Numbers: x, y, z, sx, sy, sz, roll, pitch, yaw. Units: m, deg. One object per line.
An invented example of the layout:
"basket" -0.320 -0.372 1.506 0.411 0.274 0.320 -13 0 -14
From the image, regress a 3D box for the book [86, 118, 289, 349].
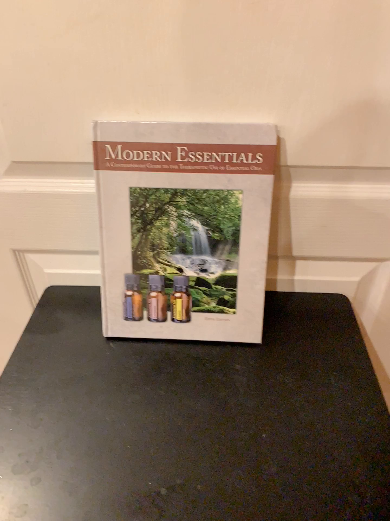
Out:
"book" -0.011 -0.027 0.512 0.230 0.289 0.030 2 19 3
